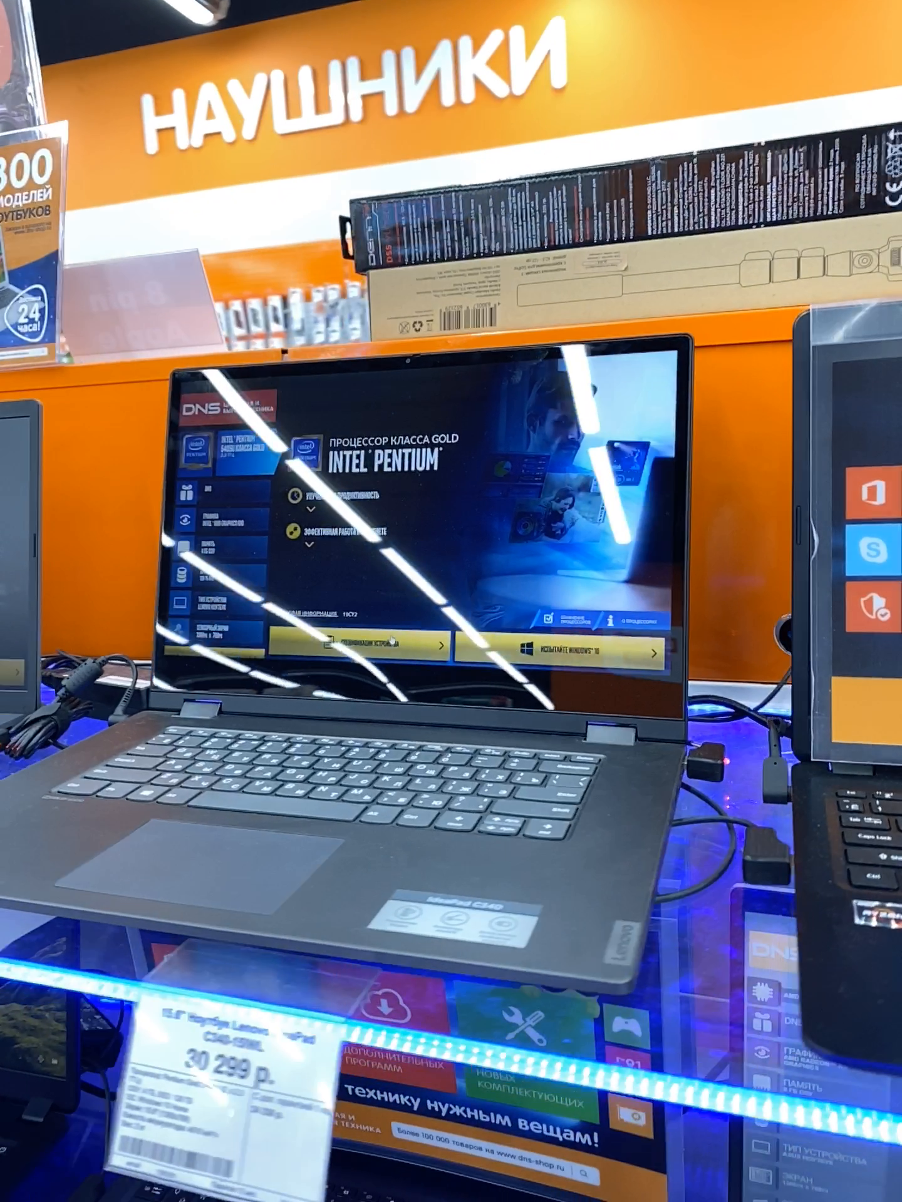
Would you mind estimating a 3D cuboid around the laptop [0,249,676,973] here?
[{"bbox_3d":[-0.078,-0.021,0.491,0.362,0.232,0.318,1,10,17],"label":"laptop"}]
